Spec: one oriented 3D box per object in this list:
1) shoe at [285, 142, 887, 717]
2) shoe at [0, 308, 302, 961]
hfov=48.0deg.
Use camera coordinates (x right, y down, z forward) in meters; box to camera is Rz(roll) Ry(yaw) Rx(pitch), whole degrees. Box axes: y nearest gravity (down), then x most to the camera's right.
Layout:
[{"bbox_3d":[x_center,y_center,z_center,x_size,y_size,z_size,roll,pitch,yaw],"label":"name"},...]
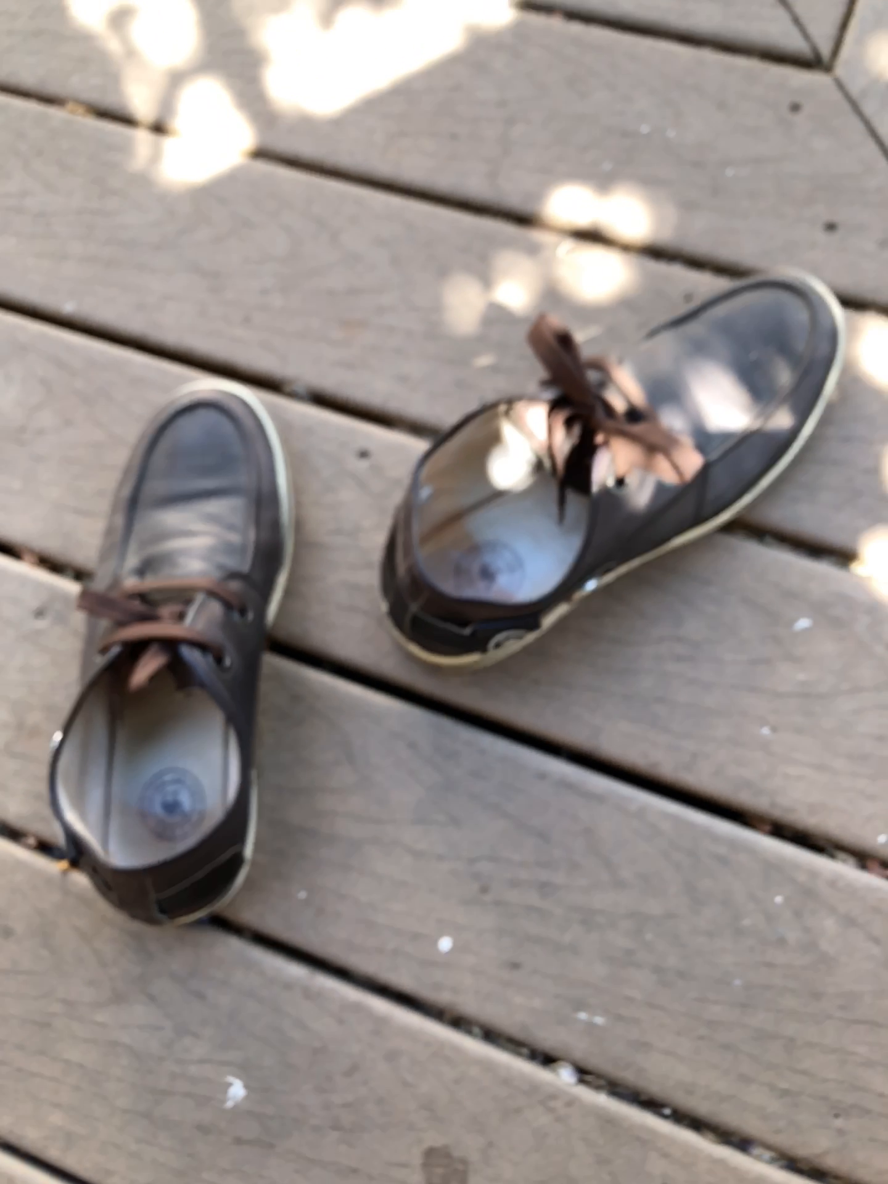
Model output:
[{"bbox_3d":[0.089,-0.072,0.509,0.303,0.116,0.110,-33,75,-2],"label":"shoe"},{"bbox_3d":[-0.149,0.022,0.515,0.110,0.116,0.302,0,77,6],"label":"shoe"}]
